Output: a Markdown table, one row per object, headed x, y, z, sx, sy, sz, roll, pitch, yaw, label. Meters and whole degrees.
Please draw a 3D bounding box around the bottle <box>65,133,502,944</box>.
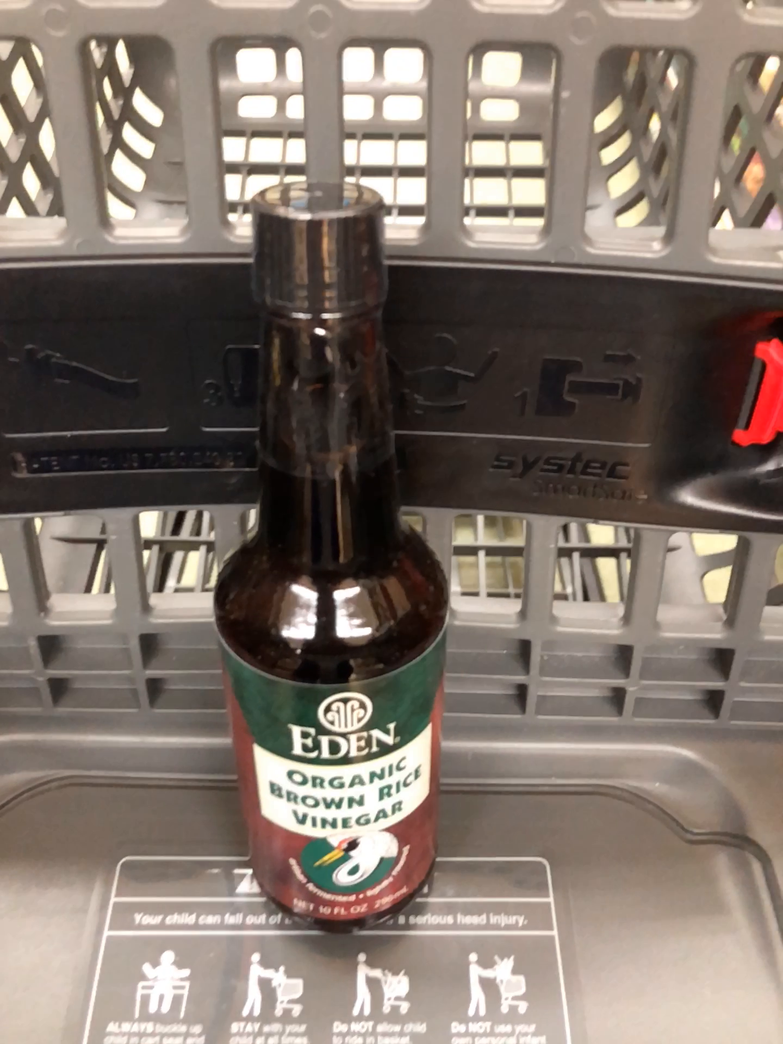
| x | y | z | sx | sy | sz | roll | pitch | yaw | label |
| --- | --- | --- | --- | --- | --- | --- | --- | --- | --- |
| -0.017 | 0.011 | 0.217 | 0.070 | 0.190 | 0.070 | -1 | 30 | 1 | bottle |
